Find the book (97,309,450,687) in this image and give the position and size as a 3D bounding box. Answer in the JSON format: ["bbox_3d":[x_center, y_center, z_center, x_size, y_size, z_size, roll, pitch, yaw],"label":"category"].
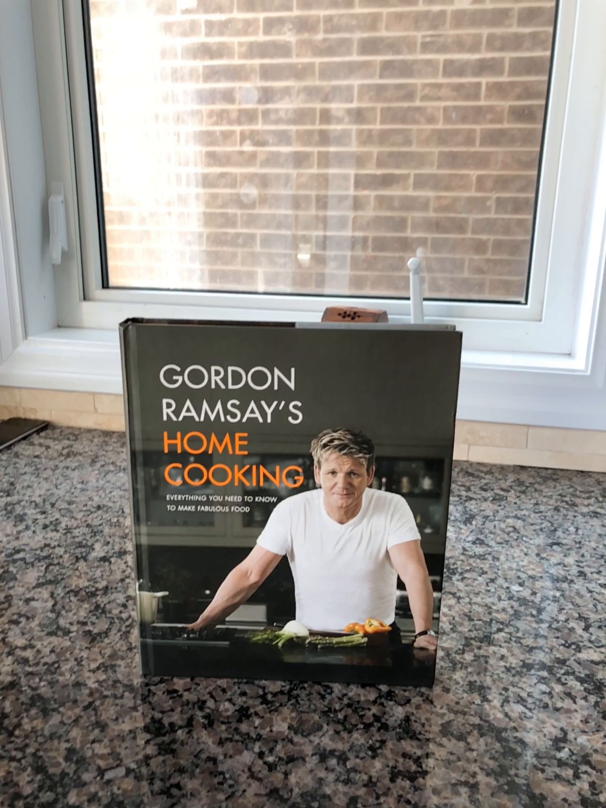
[{"bbox_3d":[-0.020,0.070,0.460,0.217,0.261,0.028,1,16,2],"label":"book"}]
